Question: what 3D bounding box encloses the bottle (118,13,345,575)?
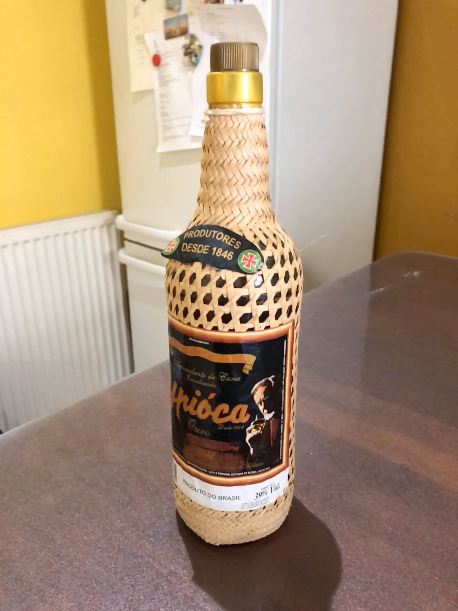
[{"bbox_3d":[0.008,0.003,0.339,0.100,0.328,0.090,8,21,22],"label":"bottle"}]
